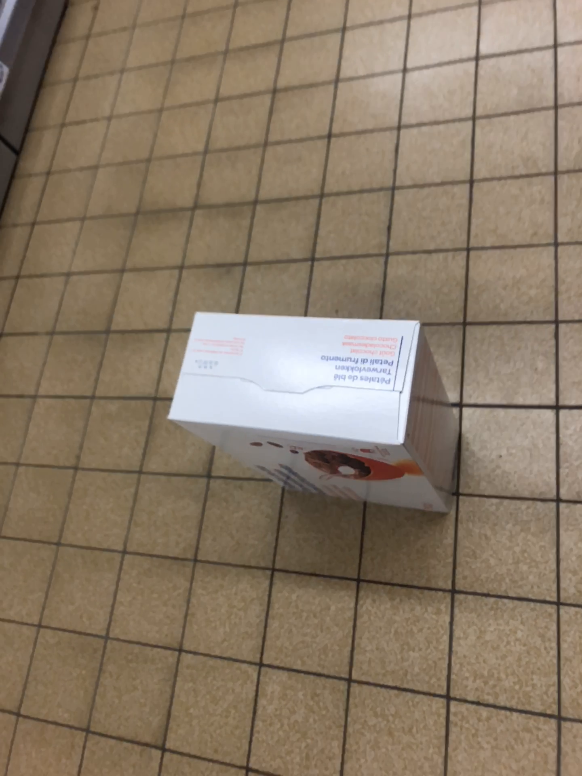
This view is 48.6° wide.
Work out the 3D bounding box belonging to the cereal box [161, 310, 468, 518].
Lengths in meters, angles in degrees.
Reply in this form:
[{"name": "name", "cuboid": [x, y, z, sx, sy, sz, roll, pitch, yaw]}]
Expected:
[{"name": "cereal box", "cuboid": [0.048, 0.038, 0.607, 0.200, 0.289, 0.100, 2, 71, 21]}]
